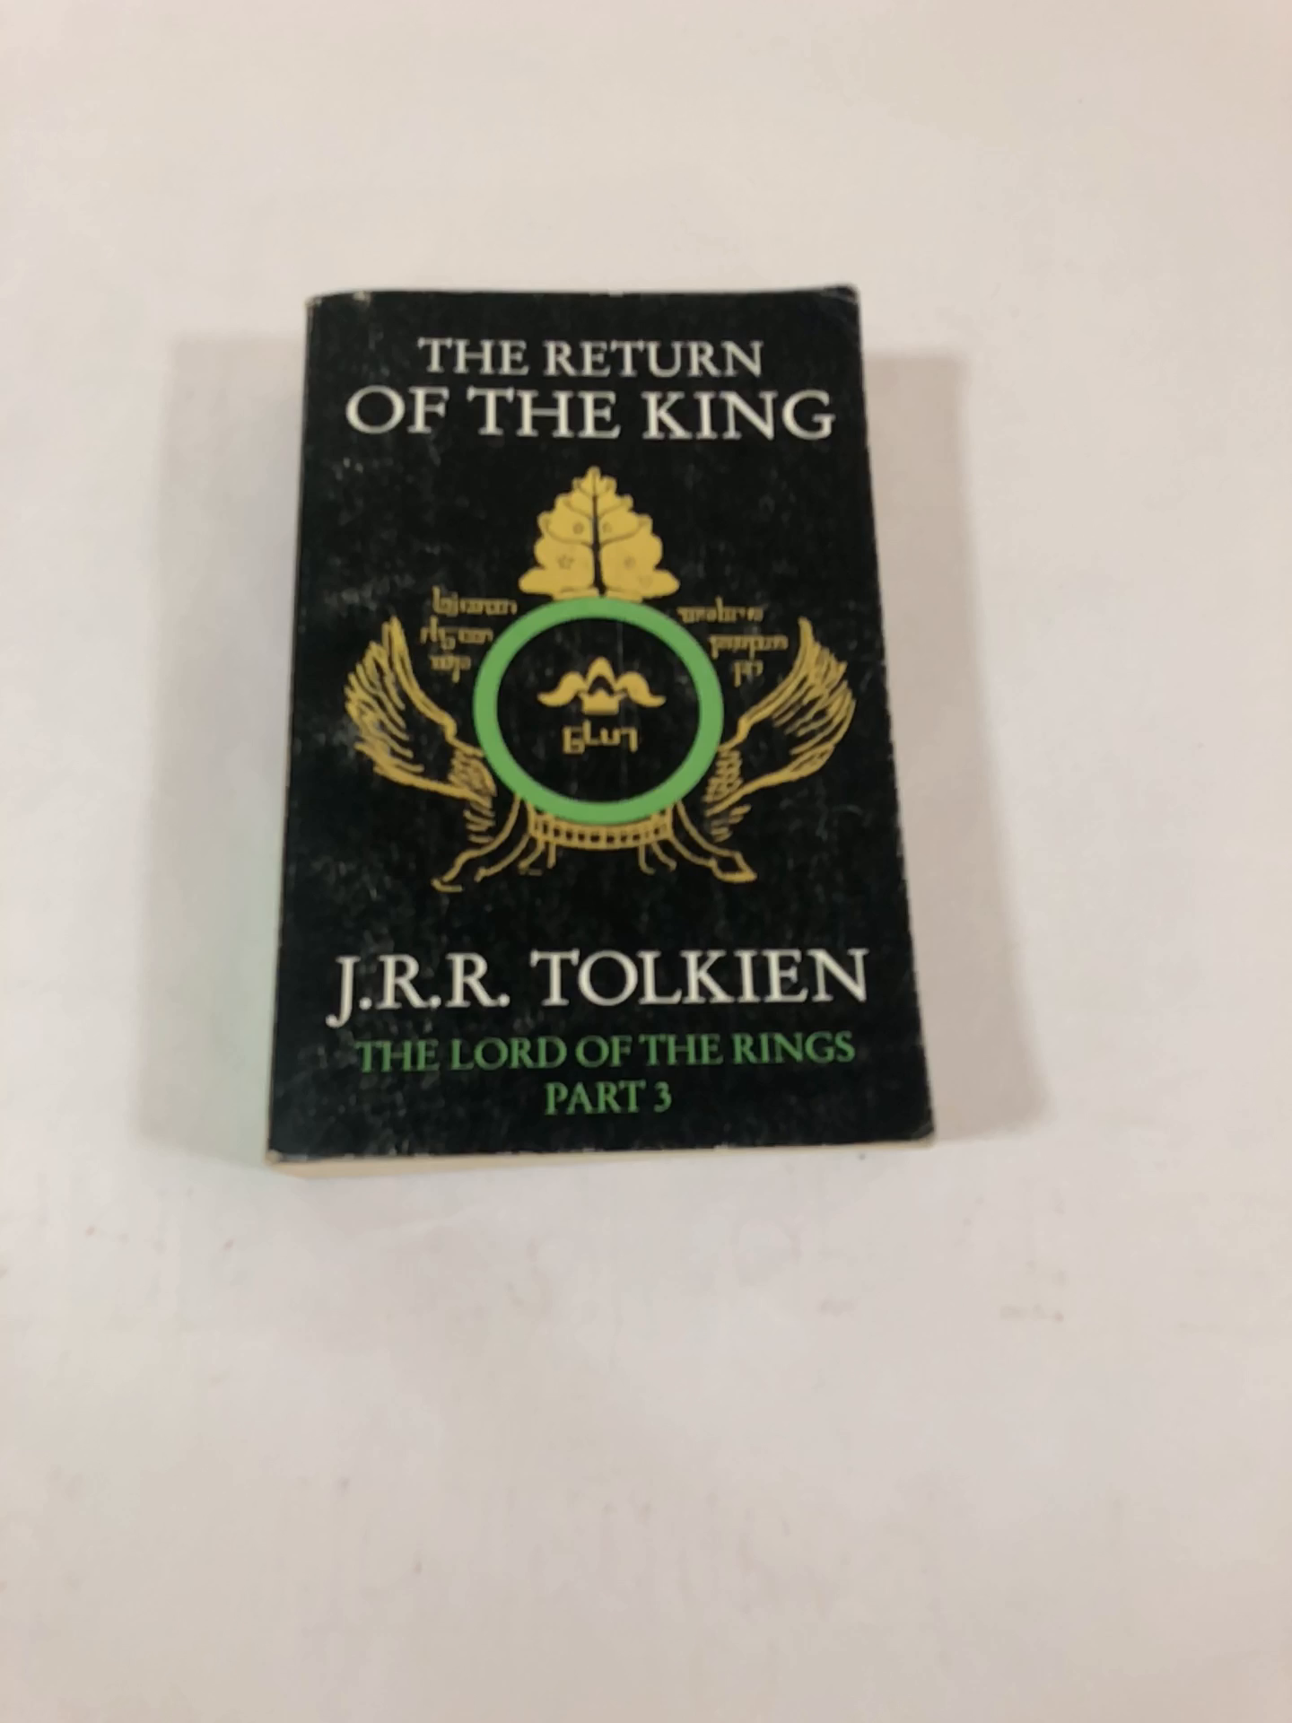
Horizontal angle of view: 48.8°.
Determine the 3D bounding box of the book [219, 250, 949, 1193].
[{"bbox_3d":[-0.015,-0.035,0.306,0.130,0.040,0.200,-1,71,-4],"label":"book"}]
